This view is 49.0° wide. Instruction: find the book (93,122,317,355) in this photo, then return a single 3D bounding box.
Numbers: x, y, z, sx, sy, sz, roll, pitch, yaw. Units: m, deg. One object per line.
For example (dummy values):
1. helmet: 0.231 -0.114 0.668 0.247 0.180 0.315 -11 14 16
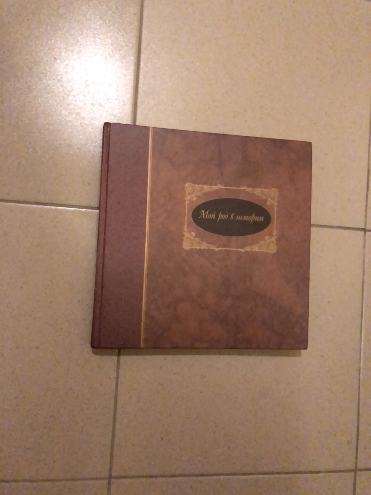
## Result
1. book: 0.025 -0.007 0.462 0.244 0.038 0.244 2 86 -8
